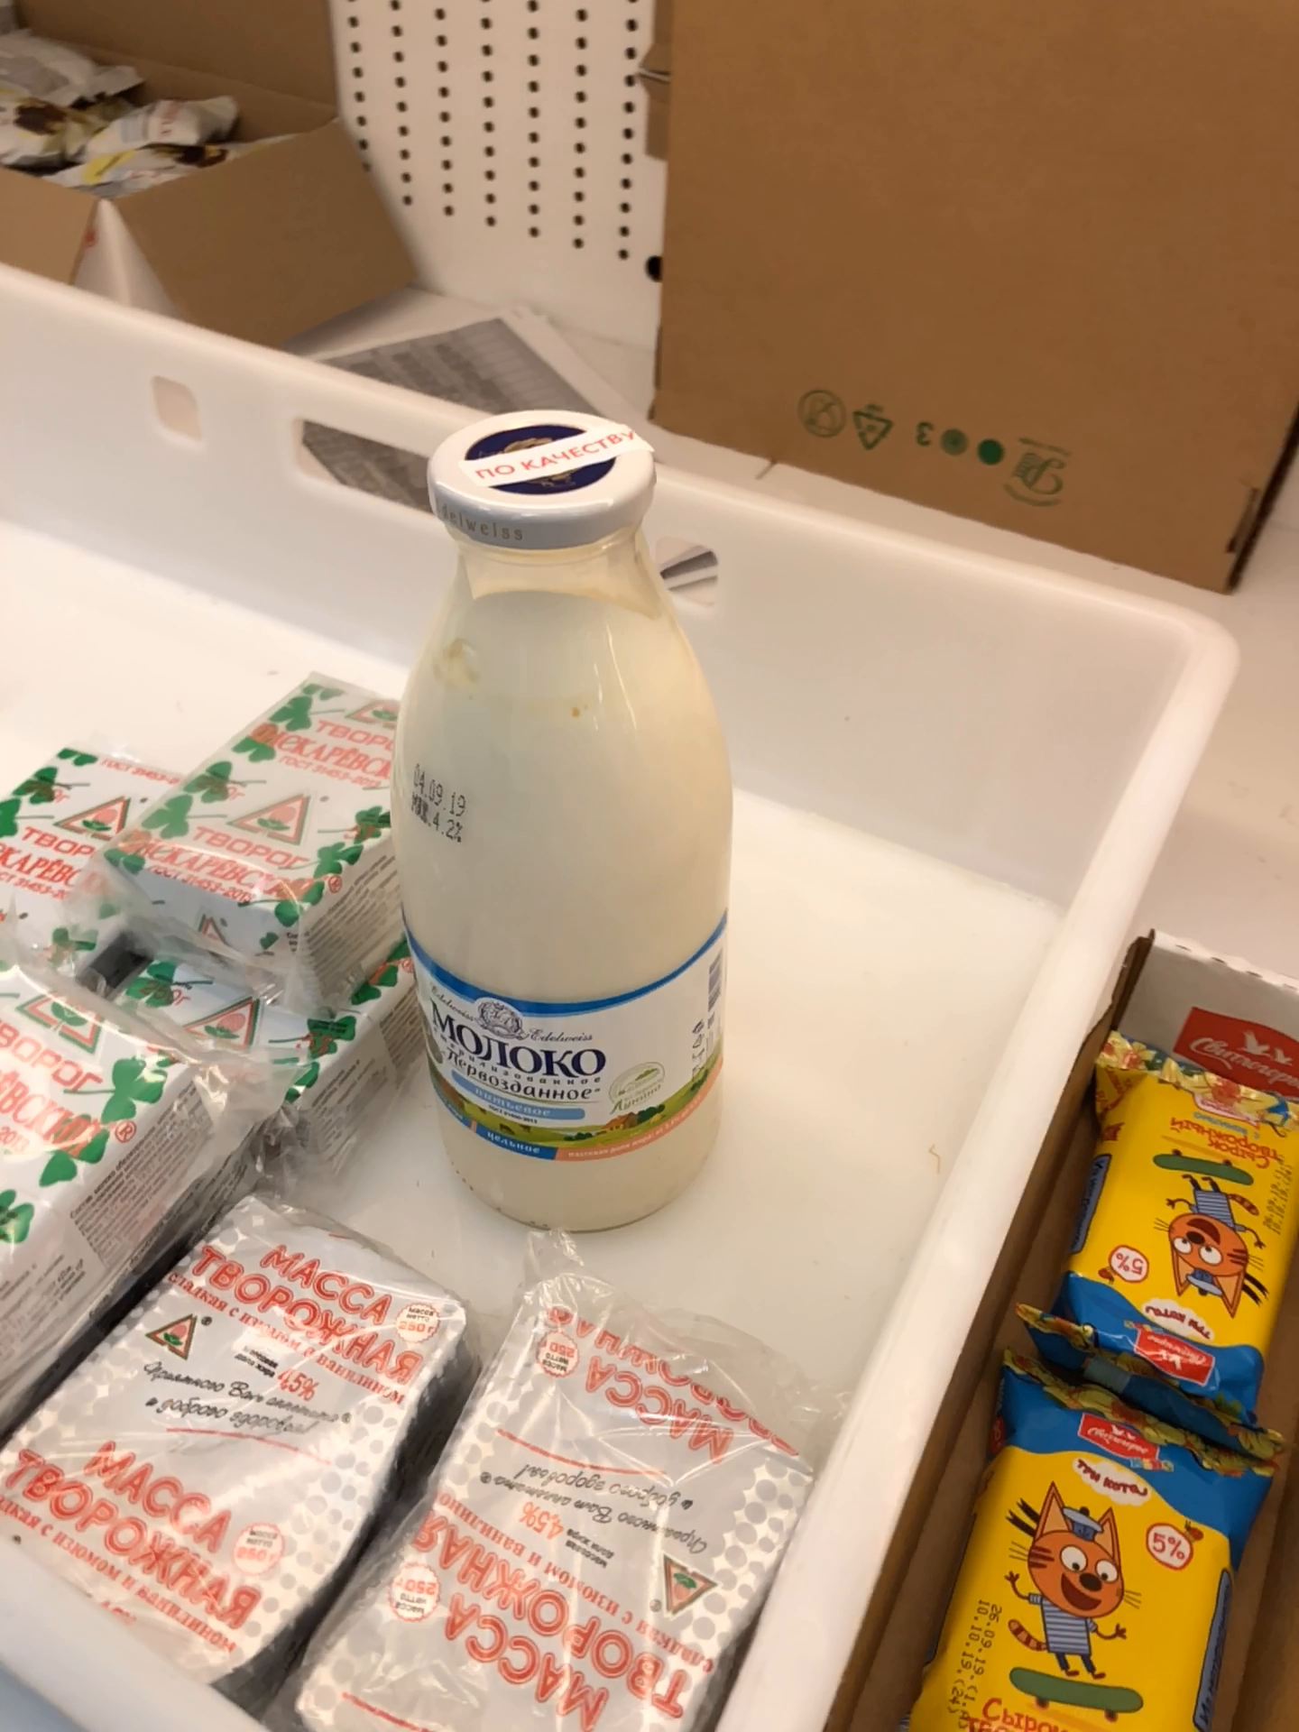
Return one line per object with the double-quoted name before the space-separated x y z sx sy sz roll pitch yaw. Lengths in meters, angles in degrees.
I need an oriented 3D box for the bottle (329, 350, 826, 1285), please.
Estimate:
"bottle" -0.016 0.001 0.353 0.071 0.220 0.073 2 43 -2
